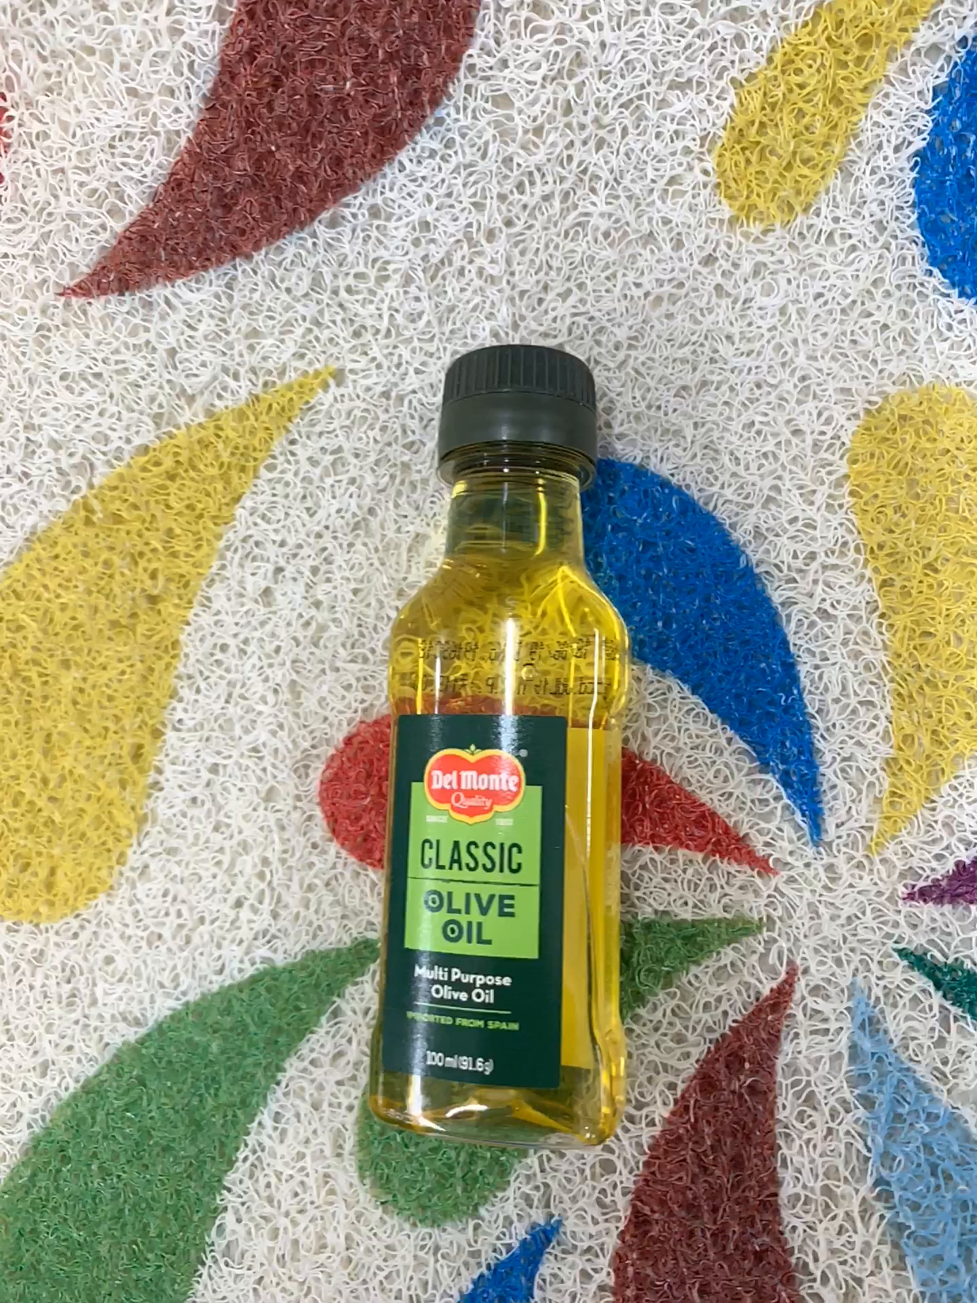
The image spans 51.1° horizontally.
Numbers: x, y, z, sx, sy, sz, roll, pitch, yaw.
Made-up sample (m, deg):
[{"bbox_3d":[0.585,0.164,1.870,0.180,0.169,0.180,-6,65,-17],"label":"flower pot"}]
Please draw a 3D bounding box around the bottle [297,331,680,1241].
[{"bbox_3d":[0.002,0.018,0.170,0.050,0.040,0.130,2,87,7],"label":"bottle"}]
